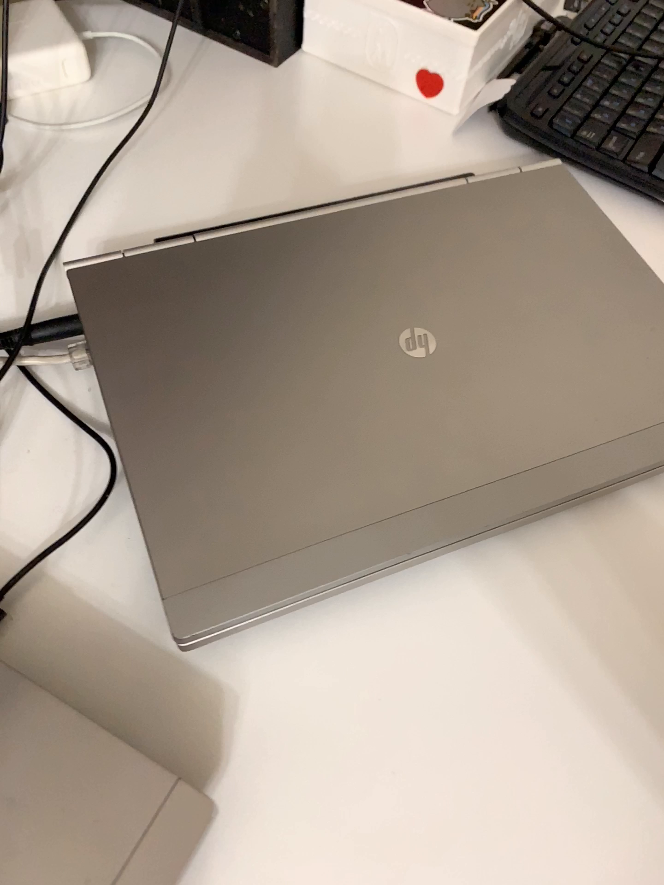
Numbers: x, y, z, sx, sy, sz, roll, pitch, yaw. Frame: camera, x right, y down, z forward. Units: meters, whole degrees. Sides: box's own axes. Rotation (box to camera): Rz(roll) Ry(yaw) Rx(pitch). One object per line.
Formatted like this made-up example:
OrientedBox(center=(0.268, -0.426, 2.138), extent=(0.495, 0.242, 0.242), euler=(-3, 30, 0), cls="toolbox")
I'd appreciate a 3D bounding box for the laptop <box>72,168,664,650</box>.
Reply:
OrientedBox(center=(0.044, -0.043, 0.344), extent=(0.292, 0.016, 0.192), euler=(-17, 65, -16), cls="laptop")
